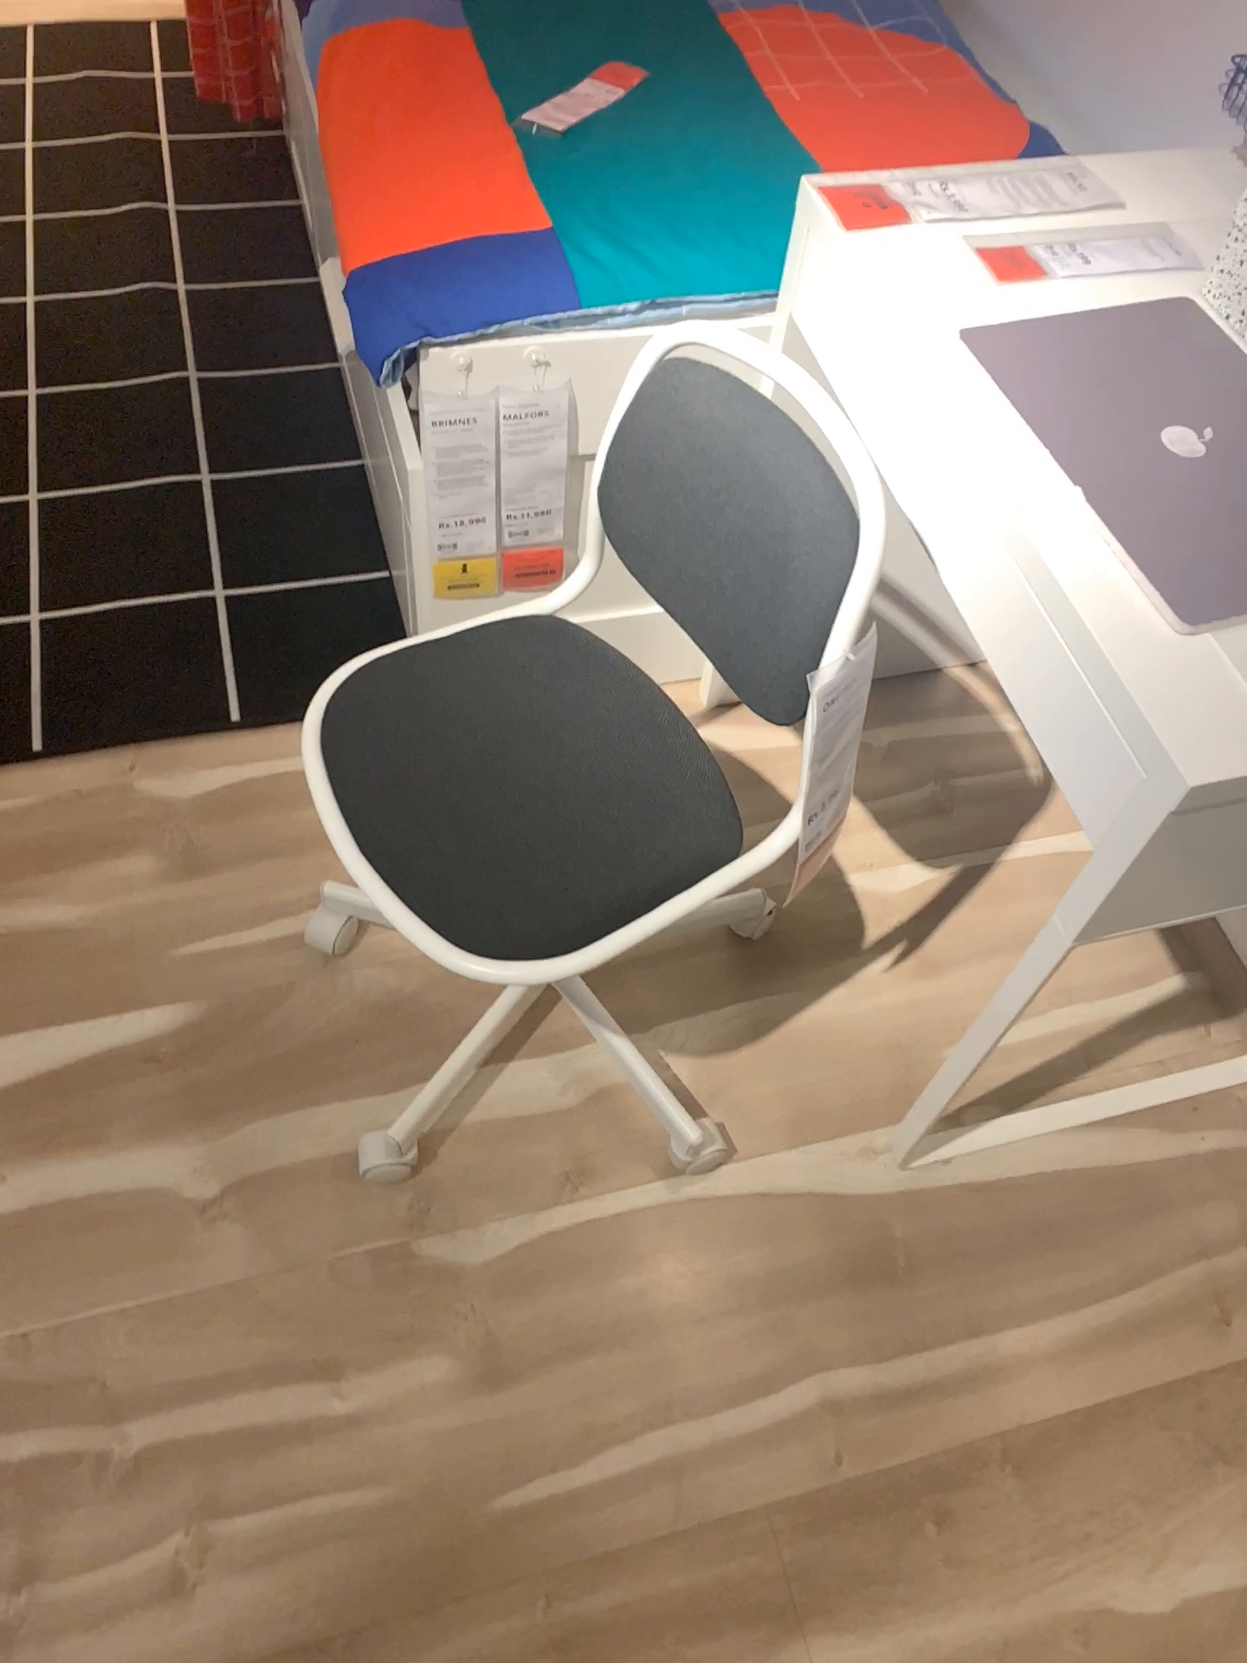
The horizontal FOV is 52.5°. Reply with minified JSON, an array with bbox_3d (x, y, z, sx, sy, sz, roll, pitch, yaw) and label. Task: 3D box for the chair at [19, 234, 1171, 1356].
[{"bbox_3d":[-0.051,-0.024,1.141,0.590,0.628,0.571,-27,62,-22],"label":"chair"}]
